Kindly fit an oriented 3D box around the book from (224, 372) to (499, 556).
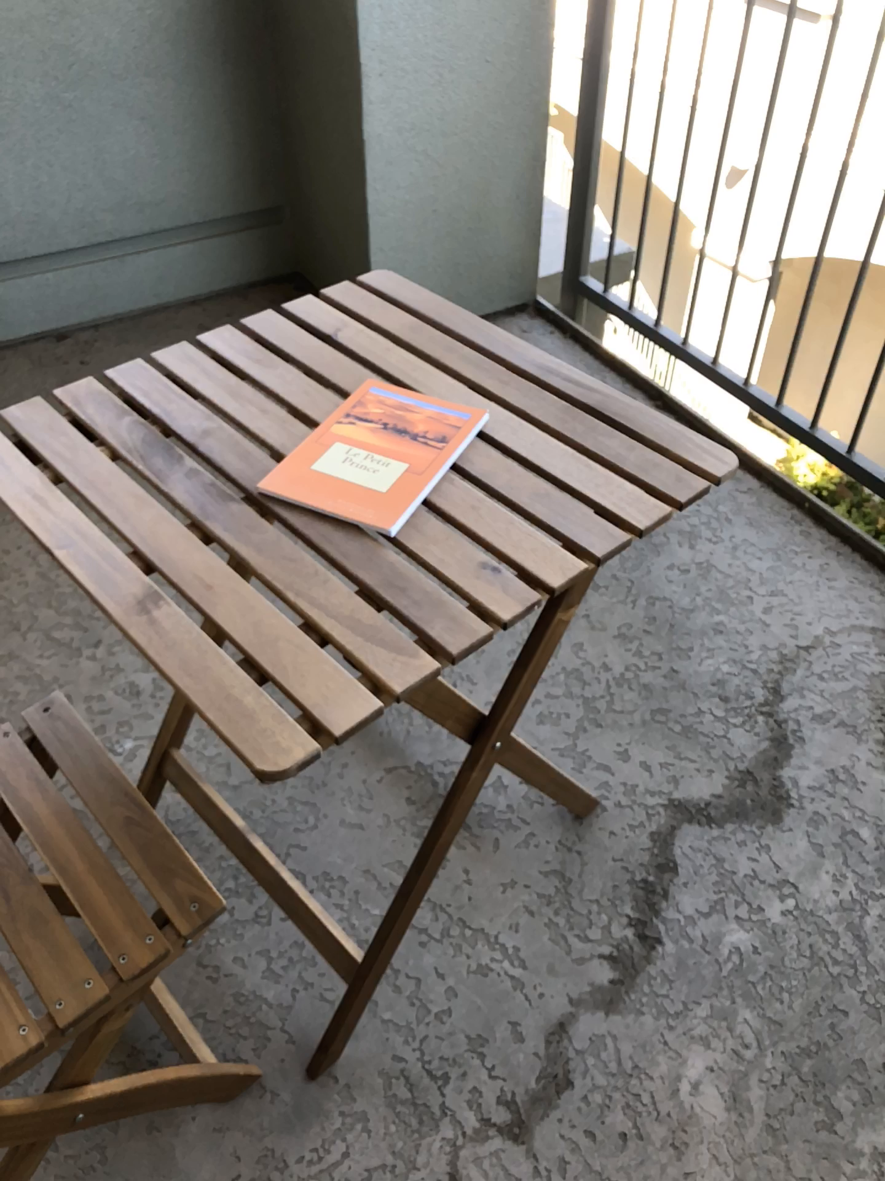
[{"bbox_3d":[-0.076,-0.140,1.011,0.180,0.010,0.251,19,47,19],"label":"book"}]
